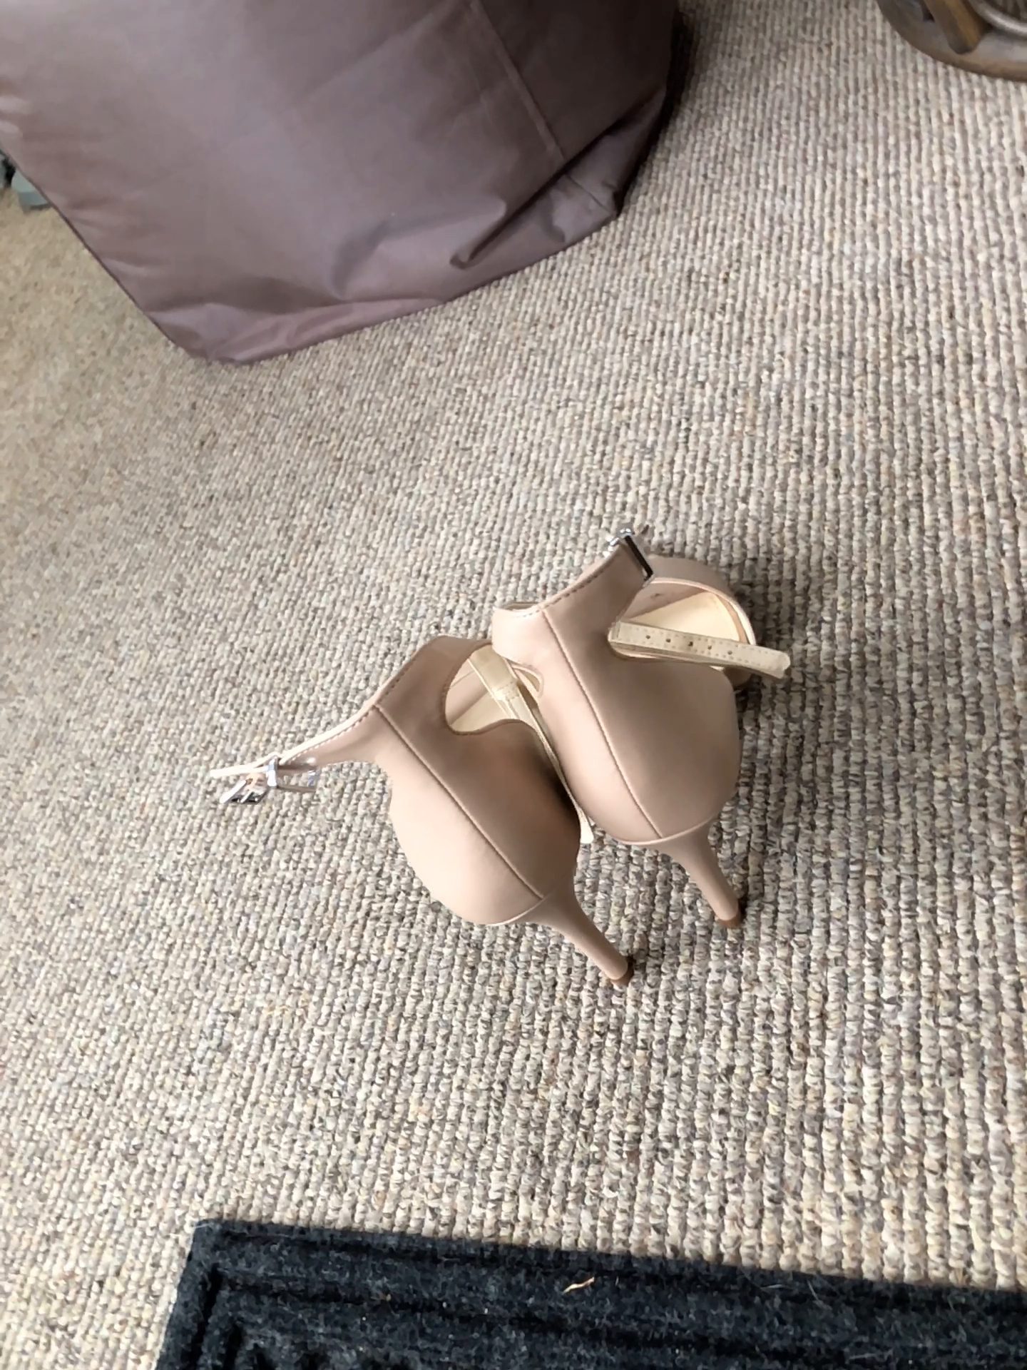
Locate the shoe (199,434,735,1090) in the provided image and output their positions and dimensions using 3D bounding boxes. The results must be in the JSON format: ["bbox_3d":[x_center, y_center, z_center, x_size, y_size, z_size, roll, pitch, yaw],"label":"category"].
[{"bbox_3d":[-0.025,0.024,0.465,0.105,0.144,0.208,-33,43,1],"label":"shoe"}]

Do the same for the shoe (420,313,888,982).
[{"bbox_3d":[0.052,-0.019,0.467,0.099,0.154,0.208,-24,44,10],"label":"shoe"}]
